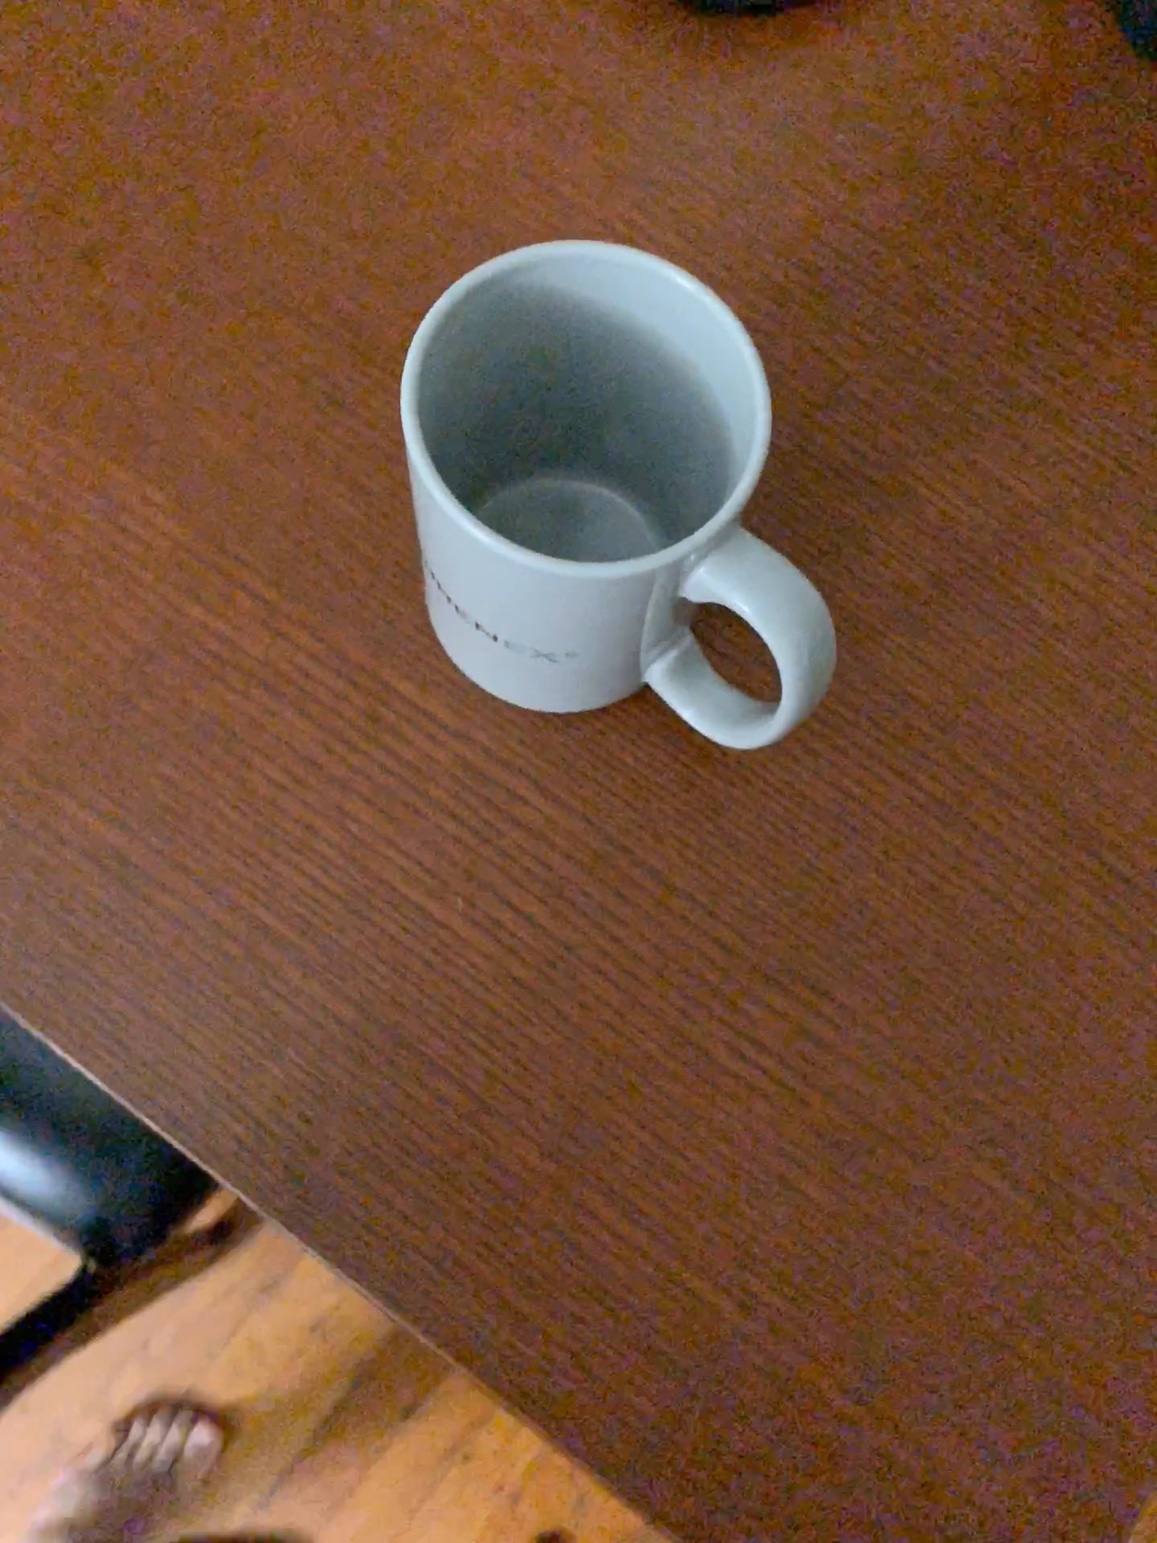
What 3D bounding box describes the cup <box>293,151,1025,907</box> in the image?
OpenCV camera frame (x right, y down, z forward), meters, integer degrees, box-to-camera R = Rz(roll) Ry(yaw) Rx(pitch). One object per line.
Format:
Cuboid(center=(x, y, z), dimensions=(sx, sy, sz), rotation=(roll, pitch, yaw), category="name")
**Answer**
Cuboid(center=(0.015, -0.056, 0.327), dimensions=(0.100, 0.110, 0.140), rotation=(-40, 82, -12), category="cup")
